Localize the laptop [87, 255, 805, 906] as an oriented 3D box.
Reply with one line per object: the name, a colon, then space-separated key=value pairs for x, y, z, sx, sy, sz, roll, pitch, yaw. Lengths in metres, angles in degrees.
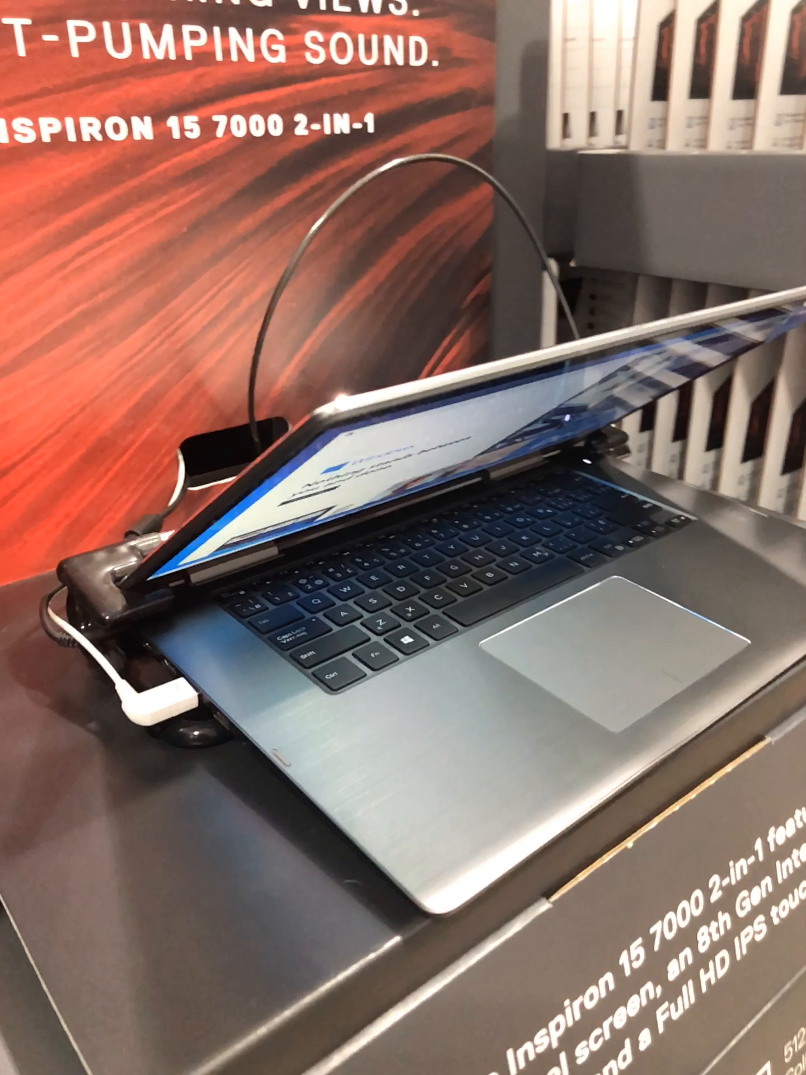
laptop: x=0.075 y=-0.032 z=0.433 sx=0.355 sy=0.137 sz=0.212 roll=-20 pitch=33 yaw=-35
